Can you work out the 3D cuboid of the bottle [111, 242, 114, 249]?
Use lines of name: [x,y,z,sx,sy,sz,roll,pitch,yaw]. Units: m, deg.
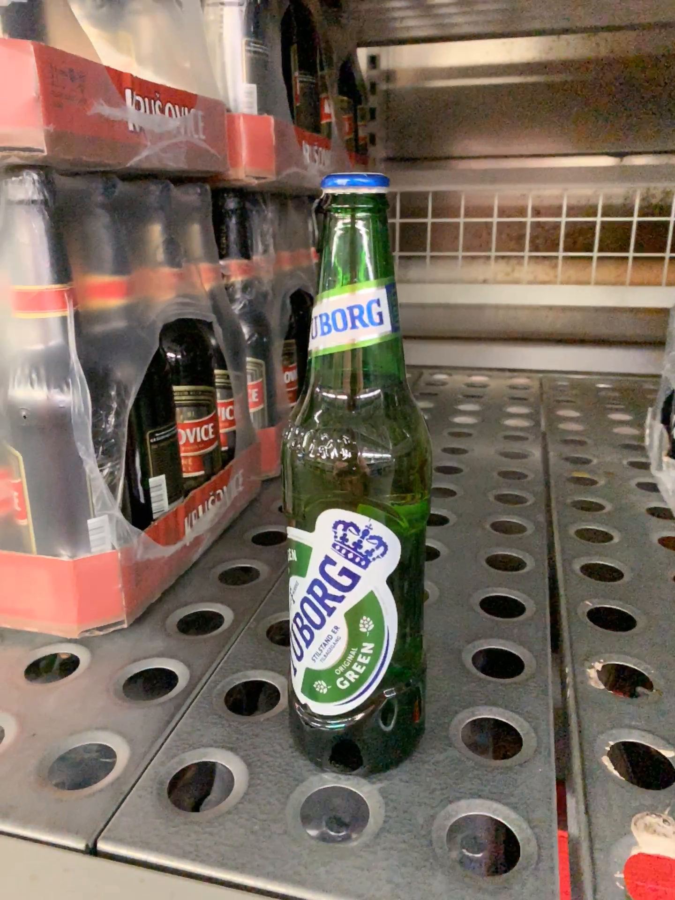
bottle: [-5.827,-5.282,18.043,0.052,0.169,0.050,0,17,0]
